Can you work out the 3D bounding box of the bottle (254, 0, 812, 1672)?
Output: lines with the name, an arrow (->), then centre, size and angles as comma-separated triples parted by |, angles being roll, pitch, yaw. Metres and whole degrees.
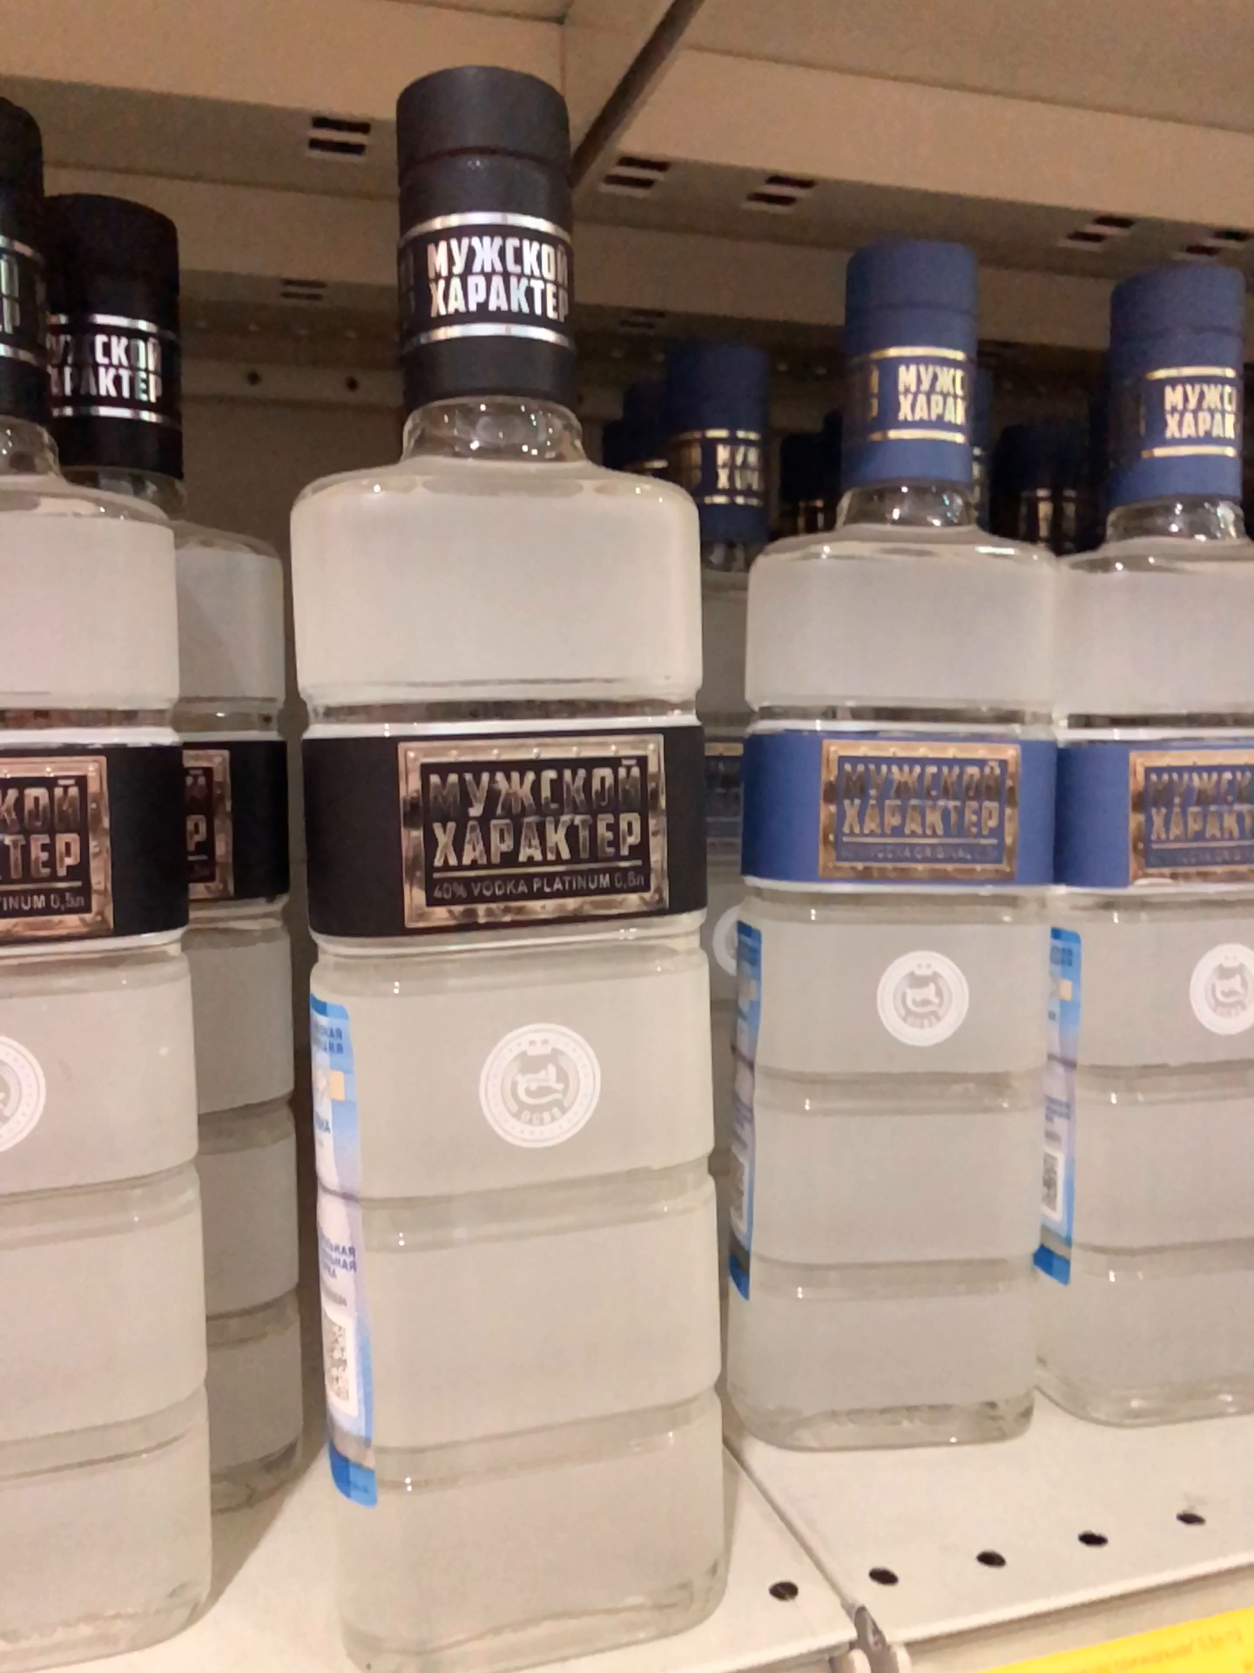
bottle -> -0.020, 0.005, 0.263 | 0.090, 0.290, 0.060 | -1, 4, -18
